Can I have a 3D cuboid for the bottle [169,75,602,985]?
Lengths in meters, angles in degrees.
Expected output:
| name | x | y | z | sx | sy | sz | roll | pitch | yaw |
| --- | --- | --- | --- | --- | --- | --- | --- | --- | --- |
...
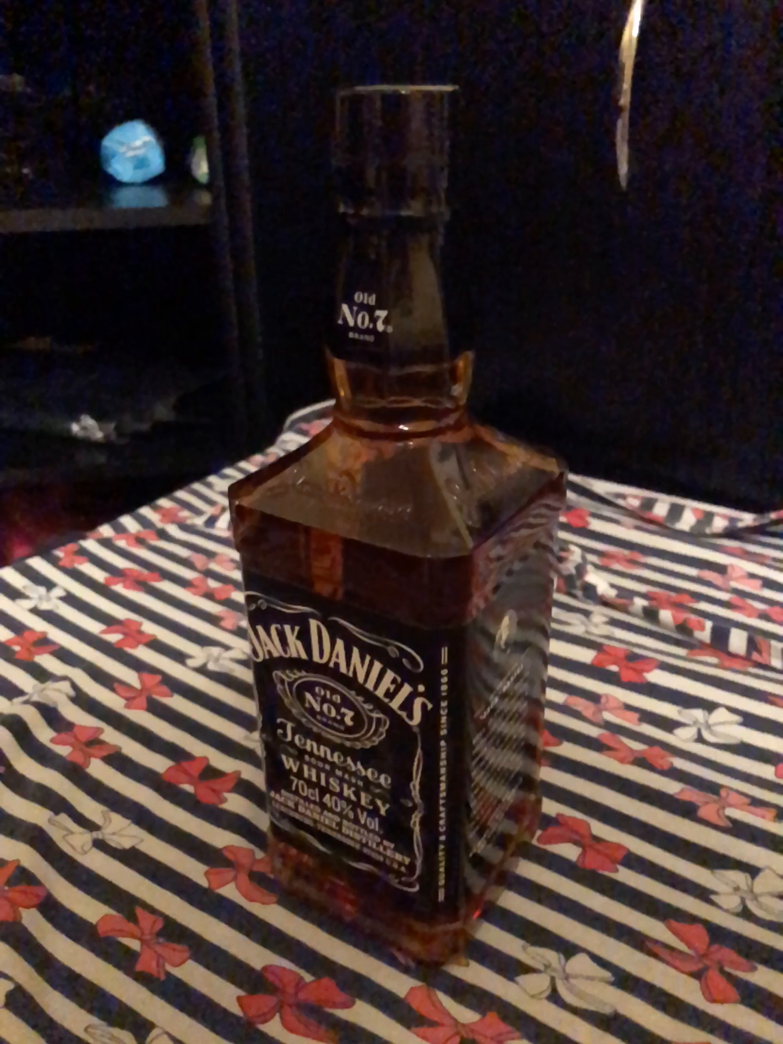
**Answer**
| name | x | y | z | sx | sy | sz | roll | pitch | yaw |
| --- | --- | --- | --- | --- | --- | --- | --- | --- | --- |
| bottle | 0.004 | 0.007 | 0.259 | 0.074 | 0.246 | 0.073 | -1 | 25 | 1 |
